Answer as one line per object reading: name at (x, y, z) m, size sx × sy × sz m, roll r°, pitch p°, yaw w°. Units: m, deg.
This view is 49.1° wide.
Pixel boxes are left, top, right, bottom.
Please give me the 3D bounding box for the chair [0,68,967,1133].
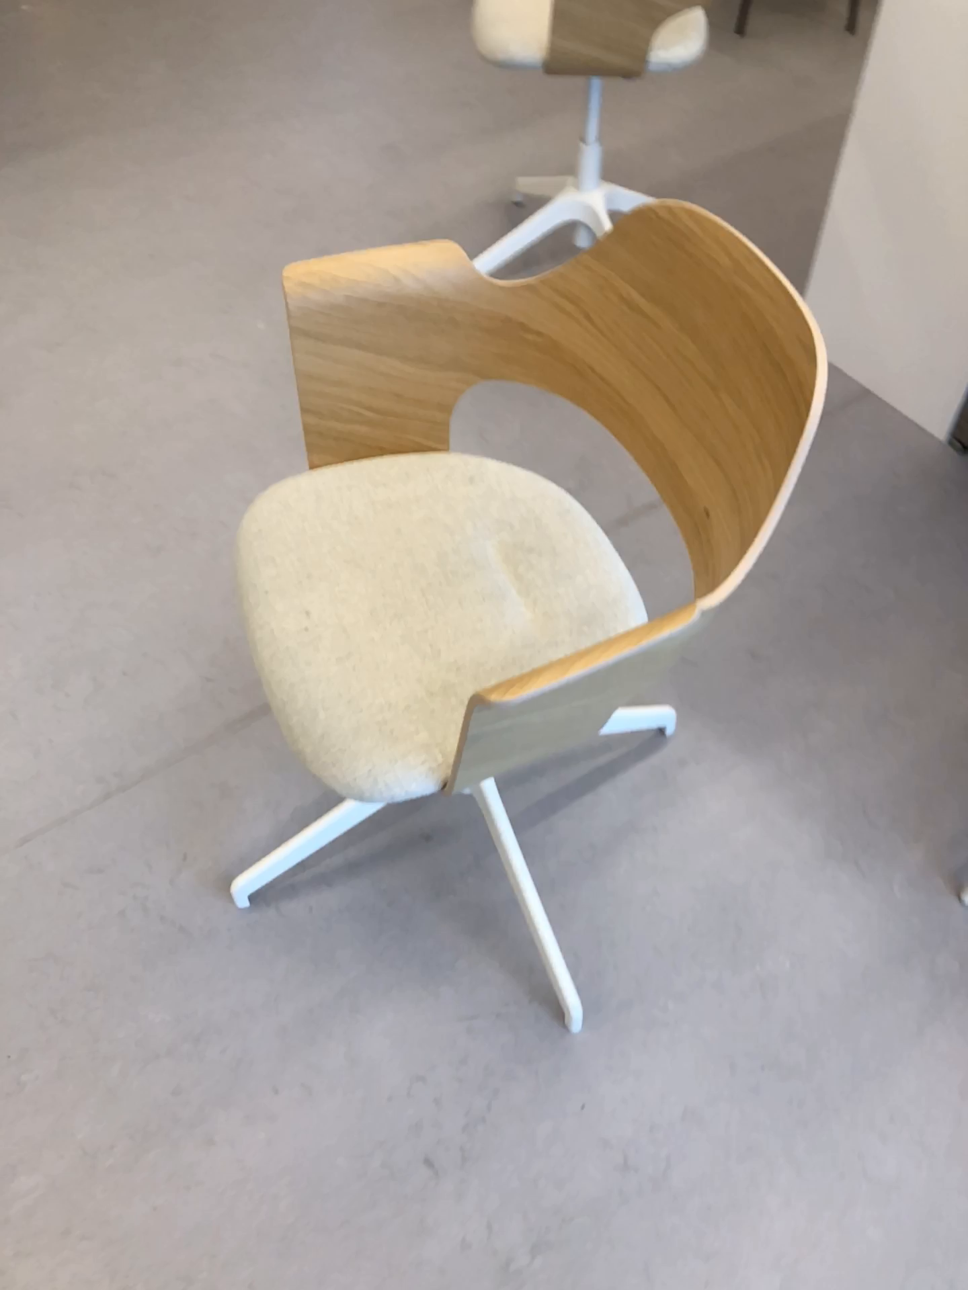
chair at (-0.051, -0.022, 1.129) m, size 0.660 × 0.775 × 0.714 m, roll -9°, pitch 52°, yaw -7°
